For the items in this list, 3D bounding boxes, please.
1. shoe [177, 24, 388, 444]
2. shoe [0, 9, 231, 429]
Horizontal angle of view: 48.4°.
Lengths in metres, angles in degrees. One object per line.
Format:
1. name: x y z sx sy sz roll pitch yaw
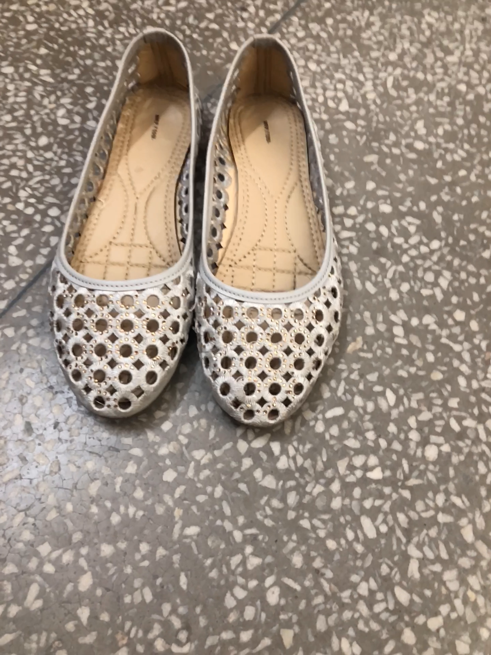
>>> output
1. shoe: 0.019 -0.061 0.320 0.093 0.070 0.240 3 66 -1
2. shoe: -0.061 -0.070 0.319 0.093 0.070 0.240 3 66 -1
